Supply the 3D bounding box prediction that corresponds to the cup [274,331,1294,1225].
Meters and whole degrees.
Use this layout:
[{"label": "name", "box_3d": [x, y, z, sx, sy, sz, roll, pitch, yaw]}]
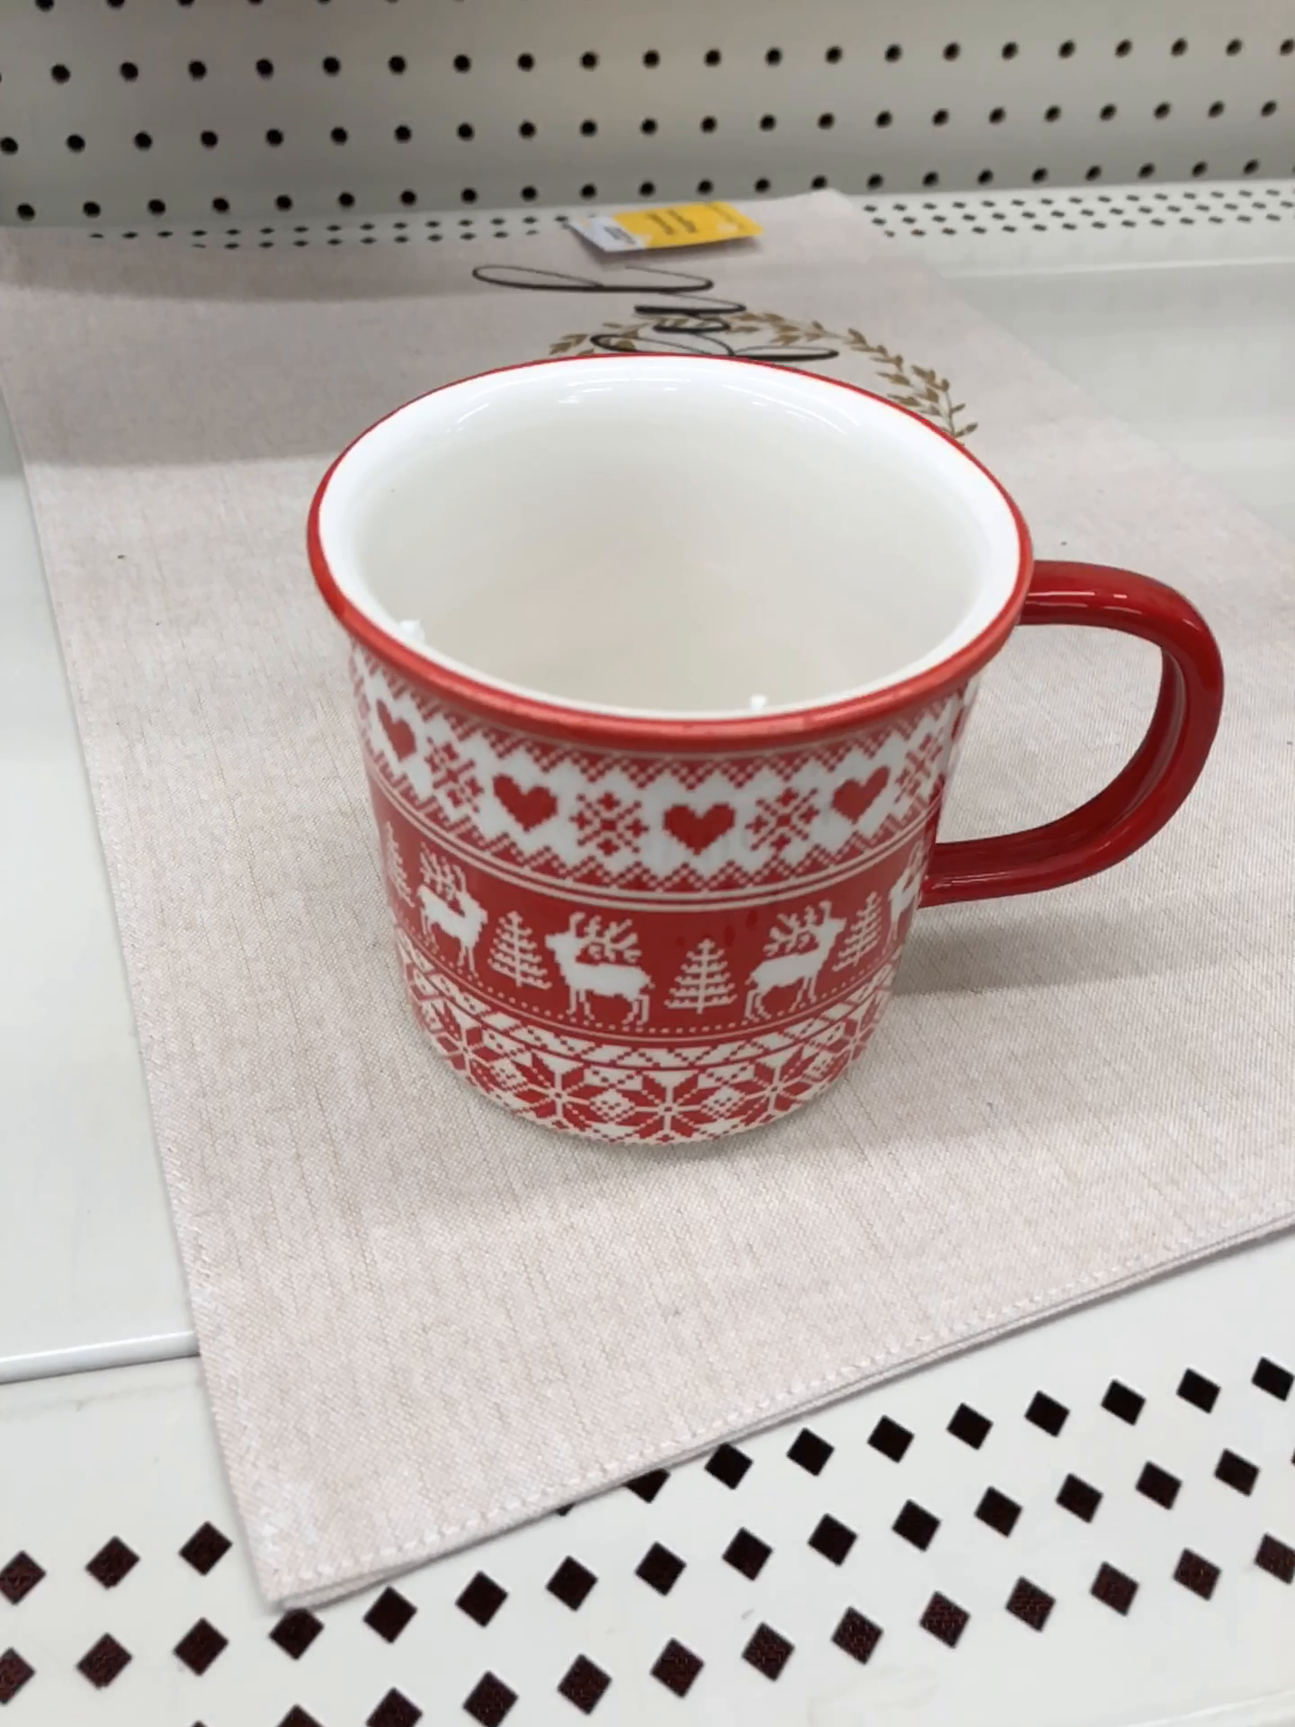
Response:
[{"label": "cup", "box_3d": [0.021, -0.018, 0.249, 0.150, 0.100, 0.100, -6, 45, -8]}]
